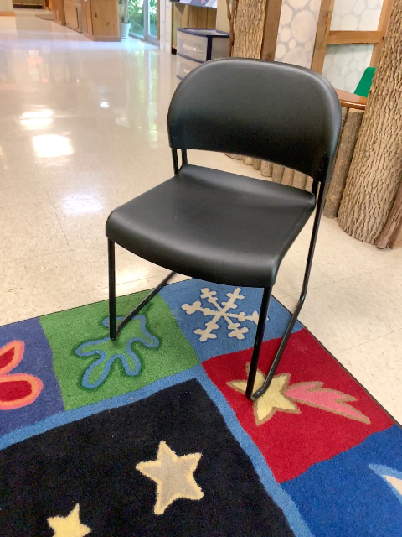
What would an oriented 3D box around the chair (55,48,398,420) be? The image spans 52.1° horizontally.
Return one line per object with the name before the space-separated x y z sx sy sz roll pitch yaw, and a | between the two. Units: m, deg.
chair | 0.091 -0.167 1.184 0.611 0.736 0.633 19 36 22
